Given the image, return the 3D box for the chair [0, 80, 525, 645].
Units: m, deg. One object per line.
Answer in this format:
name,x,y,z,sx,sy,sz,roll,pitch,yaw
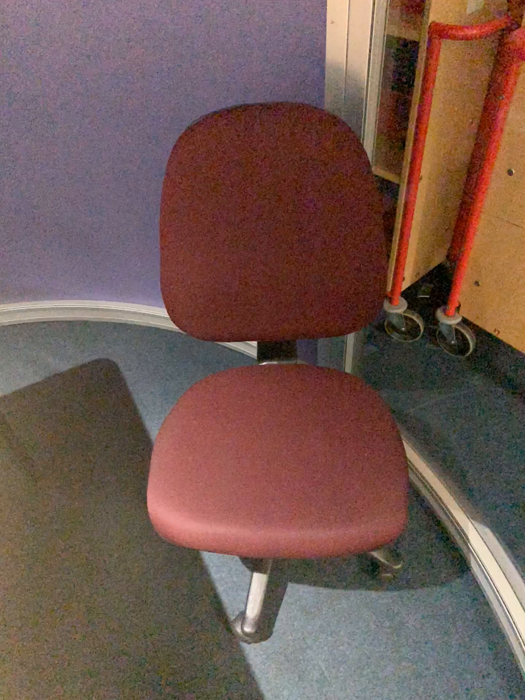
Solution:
chair,0.015,0.021,1.115,0.580,0.773,0.858,-3,46,3
